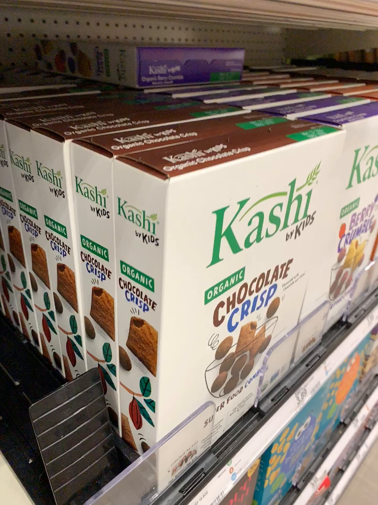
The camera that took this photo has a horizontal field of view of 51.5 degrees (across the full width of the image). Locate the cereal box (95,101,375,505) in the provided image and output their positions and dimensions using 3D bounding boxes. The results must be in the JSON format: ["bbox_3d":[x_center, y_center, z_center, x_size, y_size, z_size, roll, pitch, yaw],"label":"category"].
[{"bbox_3d":[0.038,0.032,0.305,0.060,0.259,0.201,28,38,36],"label":"cereal box"}]
